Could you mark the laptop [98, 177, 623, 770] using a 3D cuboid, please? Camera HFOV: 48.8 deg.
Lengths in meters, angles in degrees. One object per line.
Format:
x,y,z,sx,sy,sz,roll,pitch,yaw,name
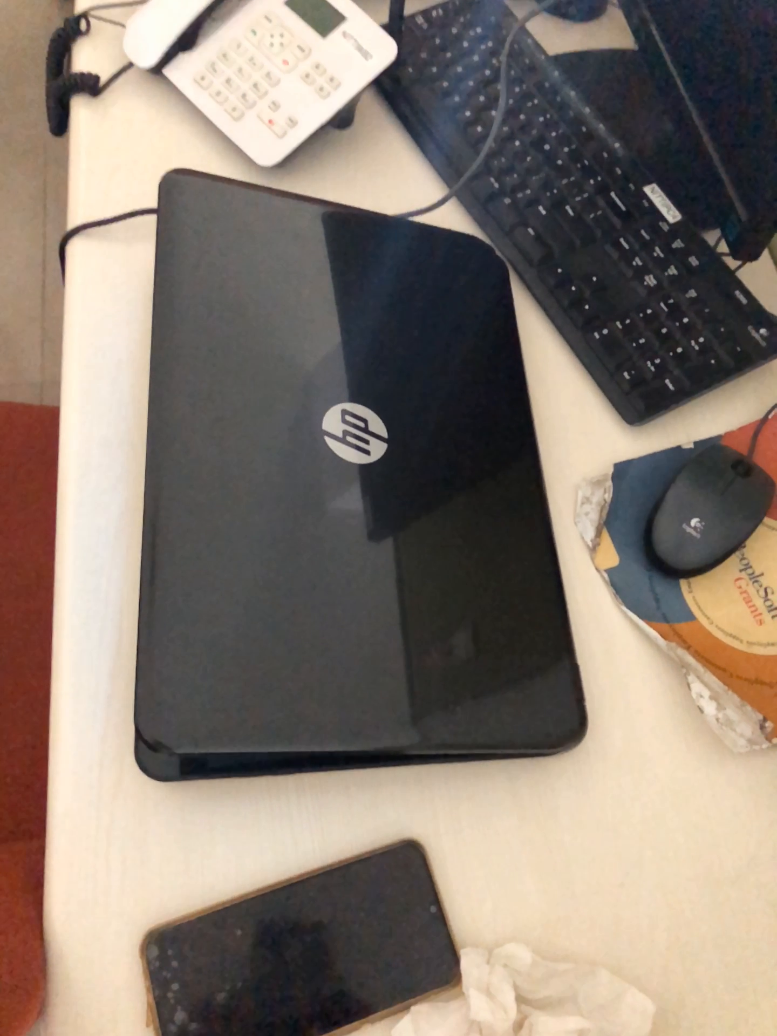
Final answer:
-0.026,-0.042,0.507,0.245,0.072,0.351,-2,65,-5,laptop
